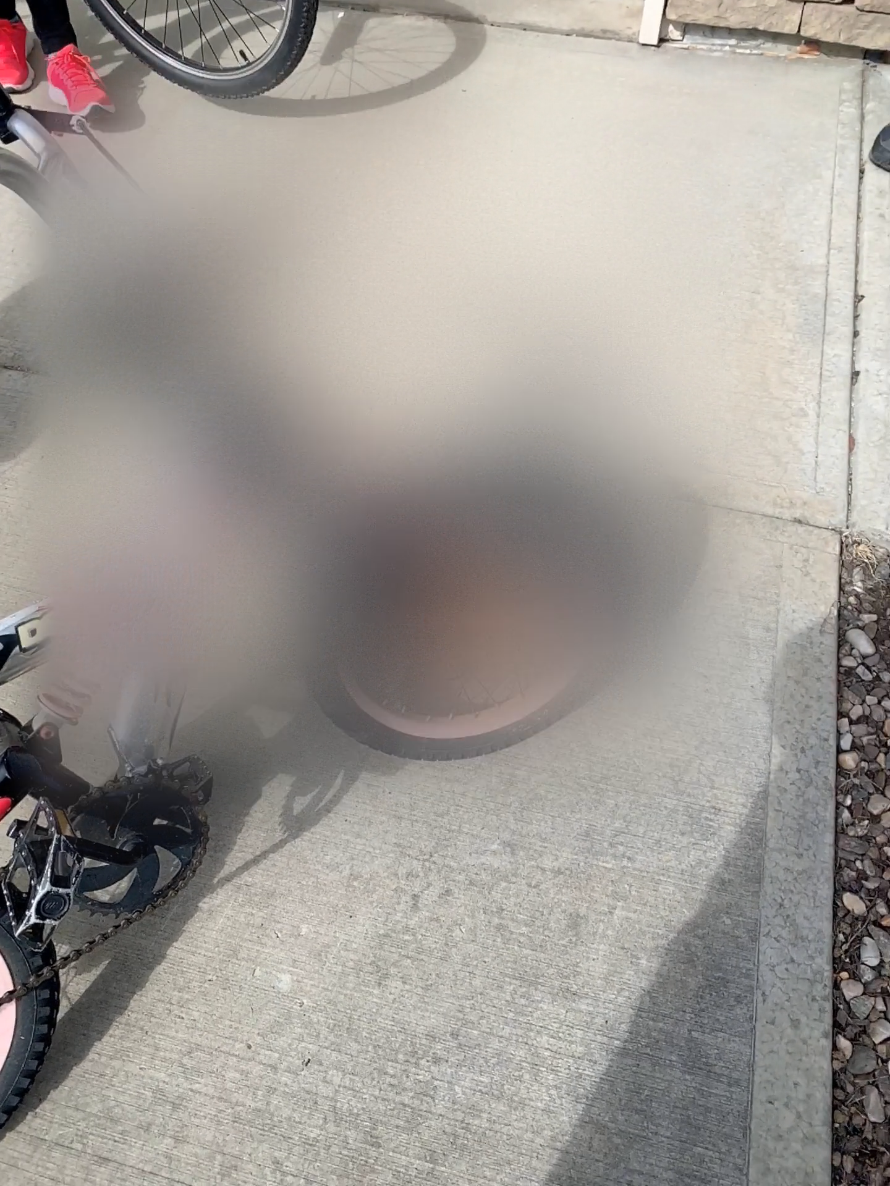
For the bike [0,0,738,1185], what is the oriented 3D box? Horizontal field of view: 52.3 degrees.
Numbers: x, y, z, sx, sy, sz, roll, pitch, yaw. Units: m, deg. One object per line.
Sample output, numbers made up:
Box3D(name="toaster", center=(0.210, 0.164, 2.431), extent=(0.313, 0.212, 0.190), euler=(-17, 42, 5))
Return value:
Box3D(name="bike", center=(-0.327, -0.022, 0.810), extent=(1.125, 0.691, 0.358), euler=(-34, 59, -25))
